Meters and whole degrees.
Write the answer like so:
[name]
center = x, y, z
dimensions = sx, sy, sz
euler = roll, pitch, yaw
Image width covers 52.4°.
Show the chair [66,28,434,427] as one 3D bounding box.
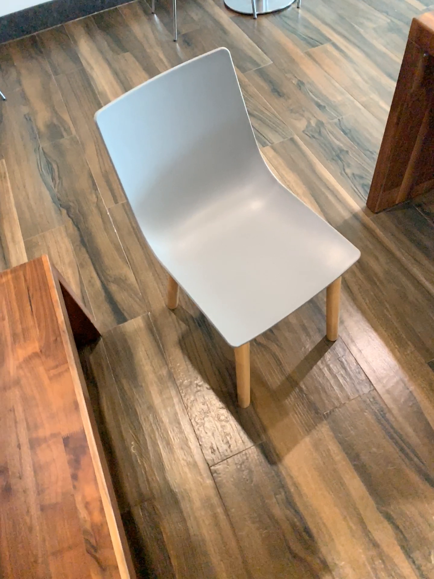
[chair]
center = 0.078, -0.119, 1.142
dimensions = 0.501, 0.696, 0.563
euler = -32, 59, -13
